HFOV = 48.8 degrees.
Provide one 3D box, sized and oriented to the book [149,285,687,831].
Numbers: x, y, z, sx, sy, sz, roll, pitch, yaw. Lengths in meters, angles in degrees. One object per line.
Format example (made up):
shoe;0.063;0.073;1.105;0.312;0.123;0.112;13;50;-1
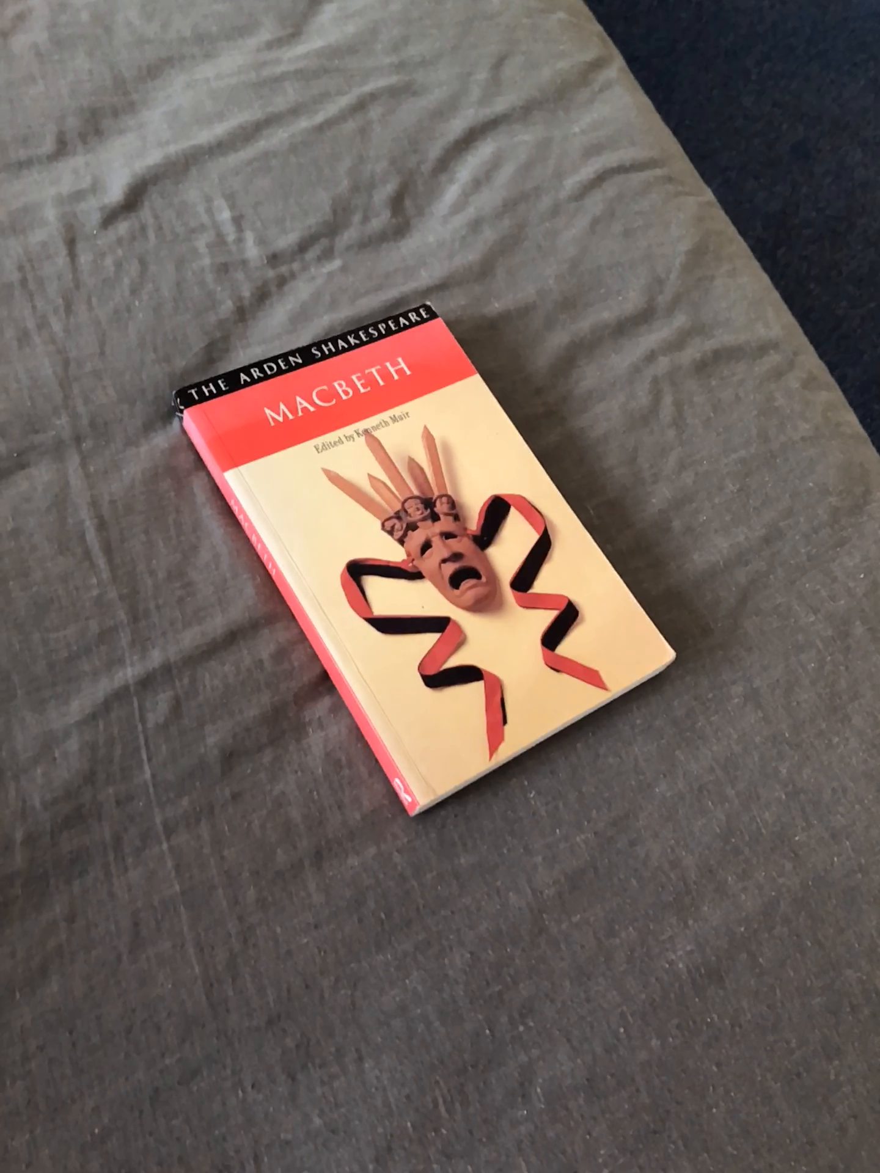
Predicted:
book;-0.012;-0.024;0.391;0.130;0.020;0.200;-26;72;-21
